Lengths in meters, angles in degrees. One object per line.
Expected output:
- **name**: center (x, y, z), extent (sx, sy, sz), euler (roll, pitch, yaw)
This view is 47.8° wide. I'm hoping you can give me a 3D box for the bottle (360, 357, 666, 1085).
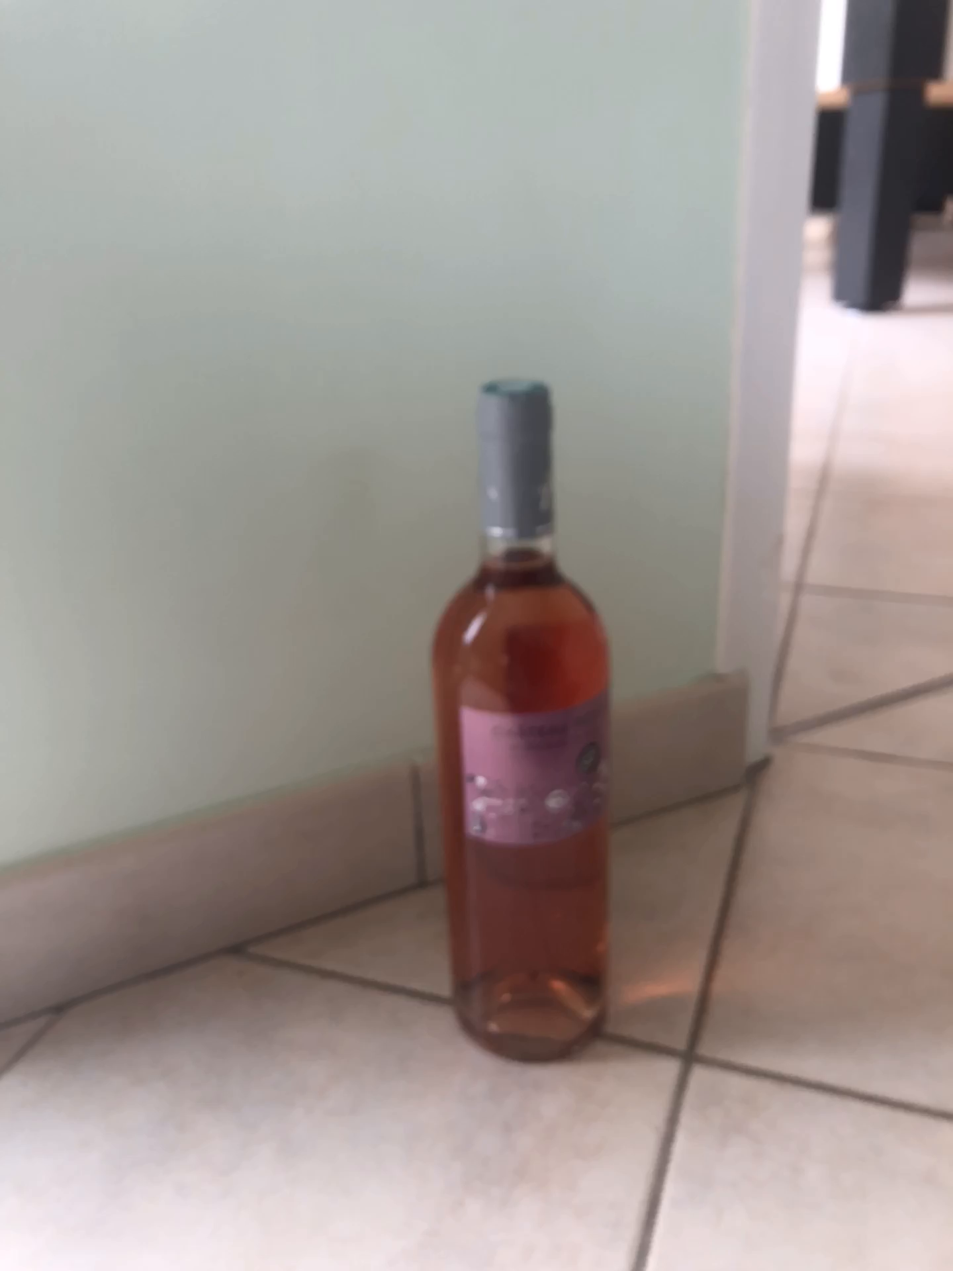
- **bottle**: center (0.022, 0.037, 0.457), extent (0.090, 0.289, 0.091), euler (-2, 23, 1)
